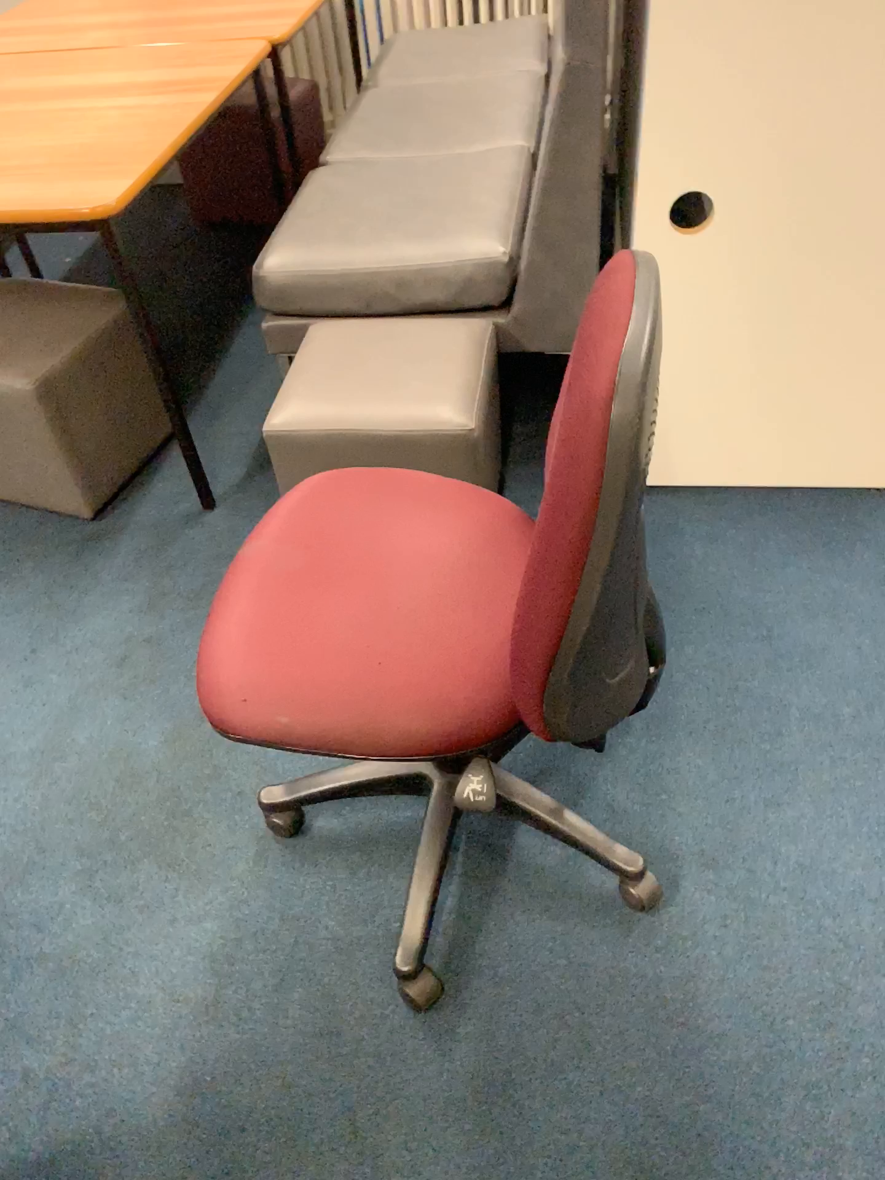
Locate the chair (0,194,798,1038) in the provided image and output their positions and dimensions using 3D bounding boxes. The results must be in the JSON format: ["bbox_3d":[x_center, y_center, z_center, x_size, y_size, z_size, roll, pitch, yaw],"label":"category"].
[{"bbox_3d":[-0.003,0.022,1.155,0.691,0.782,0.656,5,45,12],"label":"chair"}]
